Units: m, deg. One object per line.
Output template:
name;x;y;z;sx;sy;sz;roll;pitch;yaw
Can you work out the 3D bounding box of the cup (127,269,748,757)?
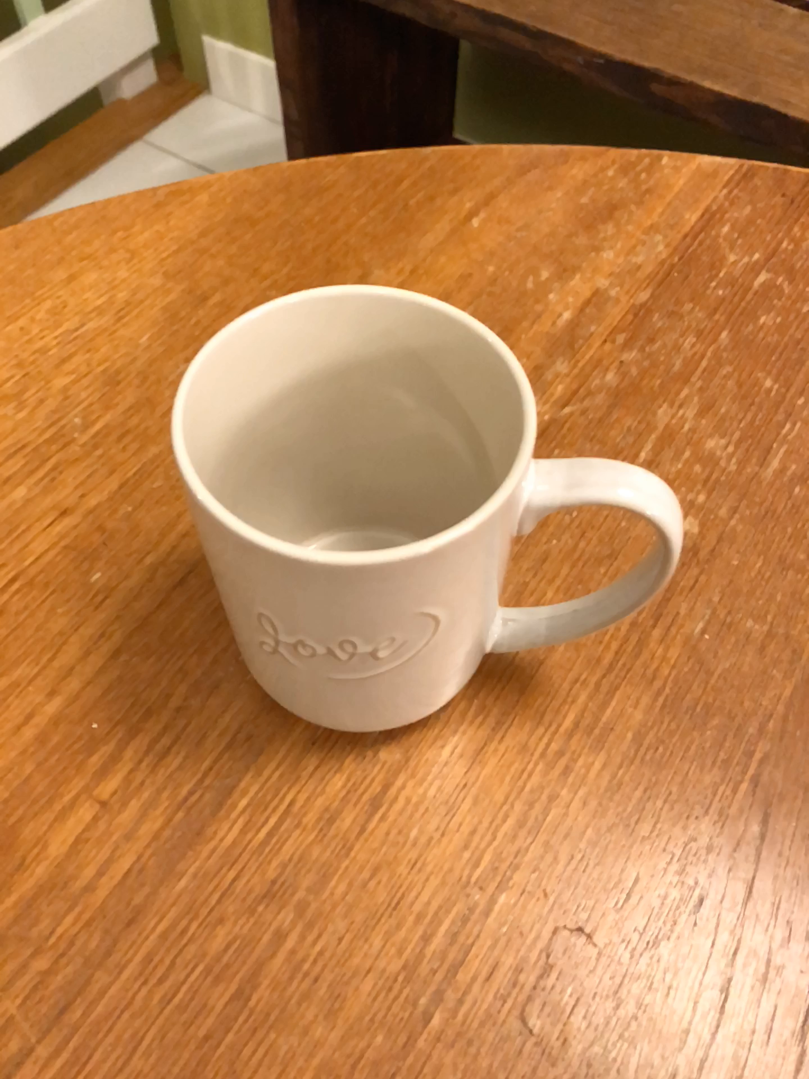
cup;0.006;-0.001;0.271;0.134;0.124;0.092;-1;57;-1
